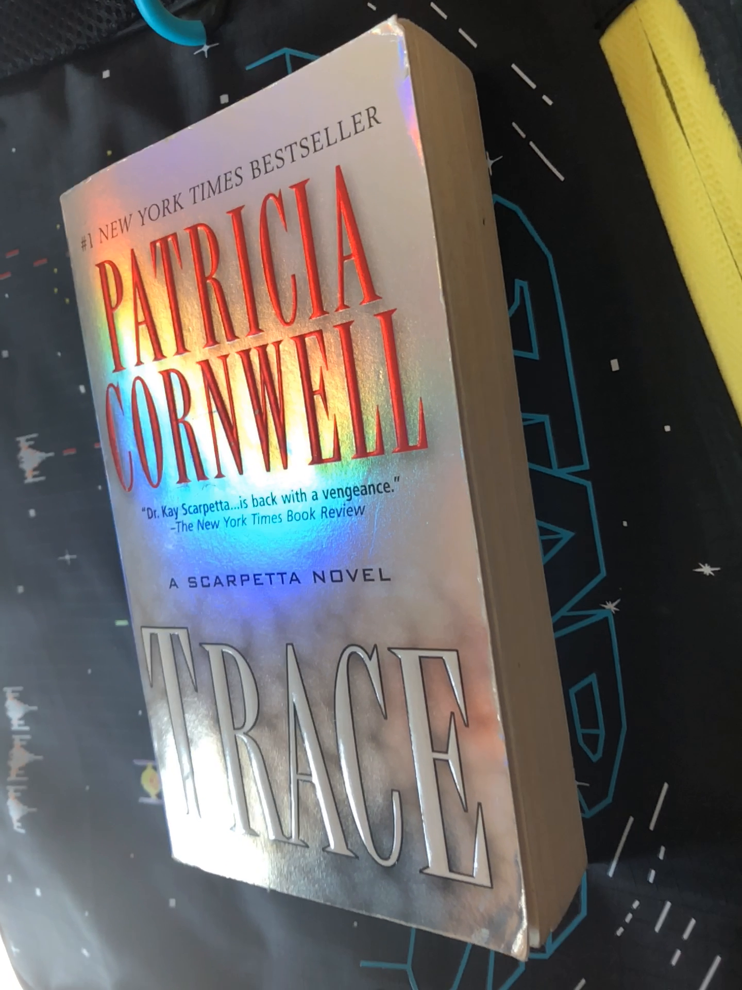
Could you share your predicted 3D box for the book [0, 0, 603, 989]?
[{"bbox_3d":[-0.024,0.003,0.186,0.121,0.040,0.170,-6,93,39],"label":"book"}]
